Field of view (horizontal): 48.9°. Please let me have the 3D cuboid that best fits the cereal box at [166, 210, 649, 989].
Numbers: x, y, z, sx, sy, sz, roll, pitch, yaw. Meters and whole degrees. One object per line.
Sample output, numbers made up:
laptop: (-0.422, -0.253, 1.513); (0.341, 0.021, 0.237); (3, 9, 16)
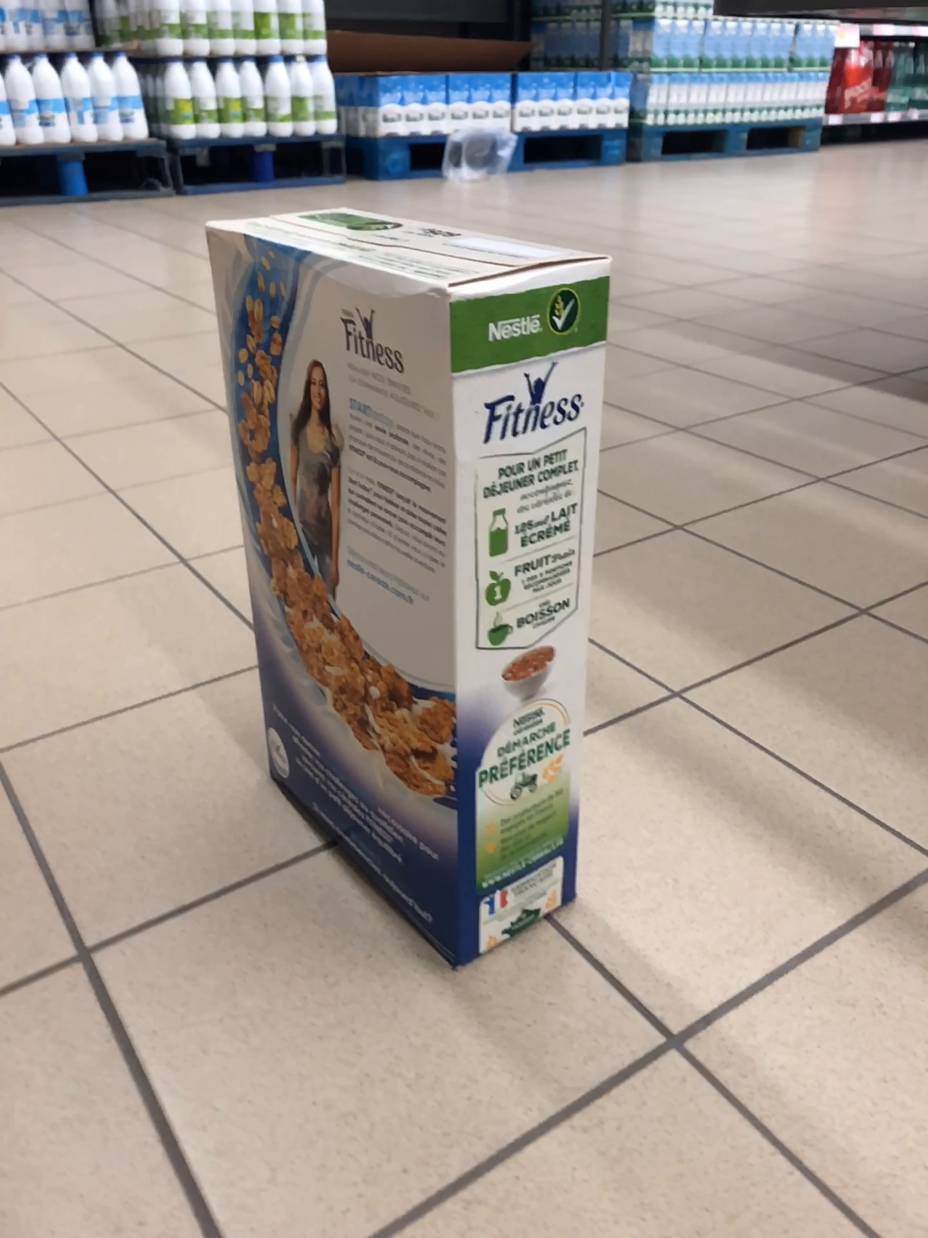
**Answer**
cereal box: (-0.034, -0.021, 0.481); (0.090, 0.298, 0.210); (-20, 33, -34)
